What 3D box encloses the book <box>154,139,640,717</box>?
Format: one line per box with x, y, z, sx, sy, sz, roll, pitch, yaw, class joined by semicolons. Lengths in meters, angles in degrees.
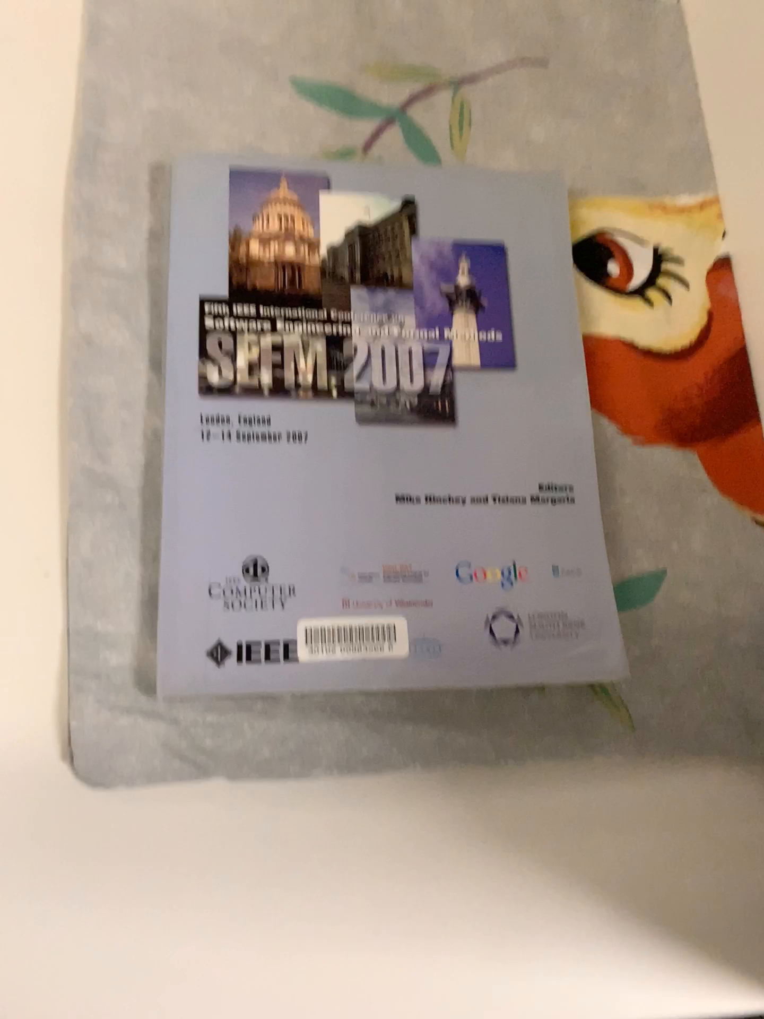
0.004;-0.046;0.382;0.210;0.030;0.275;0;75;-10;book
